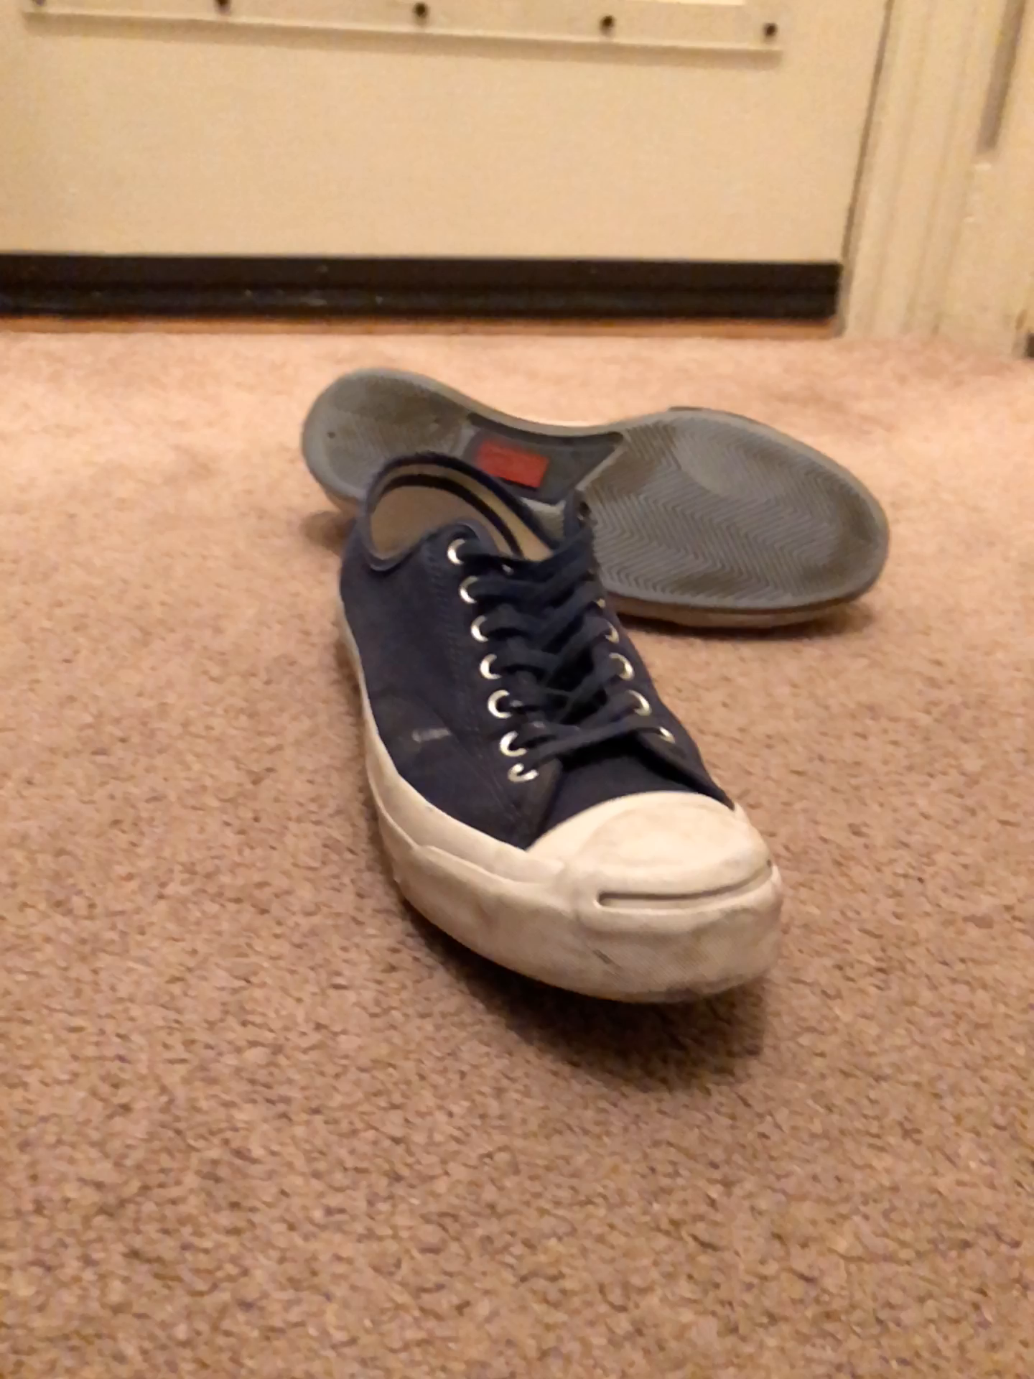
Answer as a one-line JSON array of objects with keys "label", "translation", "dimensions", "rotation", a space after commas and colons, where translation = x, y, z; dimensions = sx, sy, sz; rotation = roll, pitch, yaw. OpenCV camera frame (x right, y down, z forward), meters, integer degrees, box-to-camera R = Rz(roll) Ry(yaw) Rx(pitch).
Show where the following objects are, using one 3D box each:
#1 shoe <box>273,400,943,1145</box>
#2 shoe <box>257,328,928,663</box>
[{"label": "shoe", "translation": [-0.002, -0.008, 0.393], "dimensions": [0.116, 0.098, 0.287], "rotation": [-7, 31, -17]}, {"label": "shoe", "translation": [0.036, -0.095, 0.574], "dimensions": [0.296, 0.104, 0.099], "rotation": [12, 3, 13]}]
